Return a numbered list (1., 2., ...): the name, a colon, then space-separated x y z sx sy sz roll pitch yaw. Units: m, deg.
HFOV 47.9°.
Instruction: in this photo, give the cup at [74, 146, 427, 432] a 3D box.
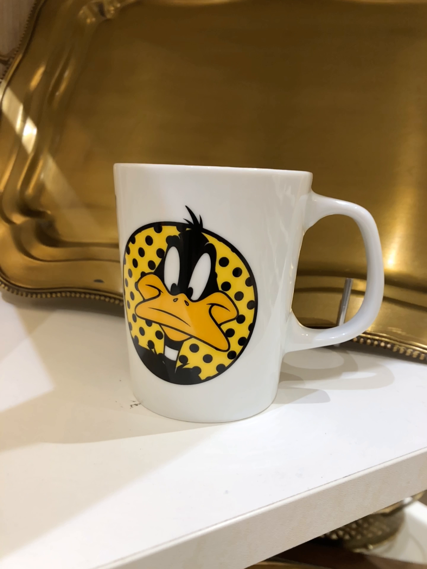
1. cup: 0.015 -0.006 0.199 0.120 0.090 0.090 2 13 -2
